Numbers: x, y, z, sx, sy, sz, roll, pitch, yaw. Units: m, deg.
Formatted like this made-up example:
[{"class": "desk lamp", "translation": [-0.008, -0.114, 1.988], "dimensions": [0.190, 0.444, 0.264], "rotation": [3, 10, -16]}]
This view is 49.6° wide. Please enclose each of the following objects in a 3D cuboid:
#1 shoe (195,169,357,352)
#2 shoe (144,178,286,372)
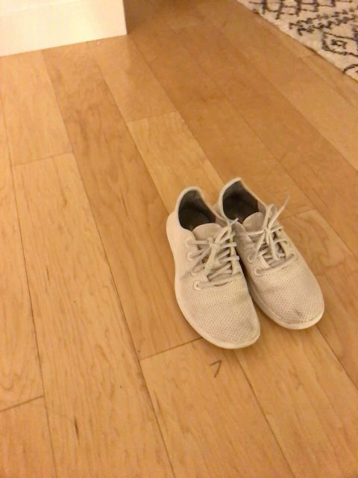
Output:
[{"class": "shoe", "translation": [0.130, 0.018, 0.597], "dimensions": [0.120, 0.070, 0.271], "rotation": [-17, 52, -12]}, {"class": "shoe", "translation": [0.038, 0.037, 0.586], "dimensions": [0.120, 0.070, 0.282], "rotation": [-13, 52, -9]}]
